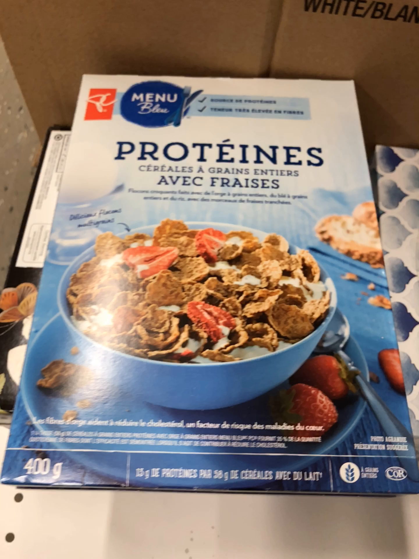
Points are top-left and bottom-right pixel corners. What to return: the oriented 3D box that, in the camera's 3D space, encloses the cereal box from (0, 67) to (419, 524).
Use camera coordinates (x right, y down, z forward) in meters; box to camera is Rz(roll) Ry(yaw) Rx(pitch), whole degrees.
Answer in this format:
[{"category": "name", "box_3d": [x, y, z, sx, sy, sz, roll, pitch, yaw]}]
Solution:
[{"category": "cereal box", "box_3d": [-0.006, -0.009, 0.258, 0.190, 0.050, 0.250, 0, 63, 1]}]
